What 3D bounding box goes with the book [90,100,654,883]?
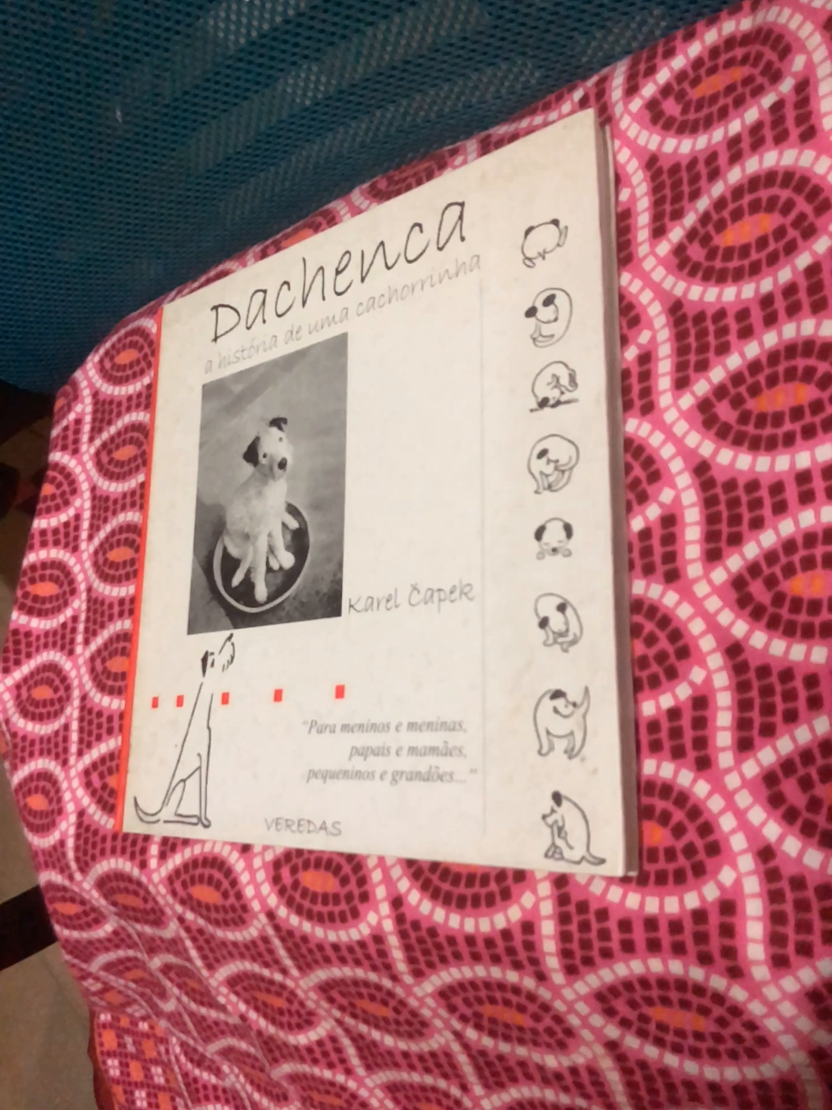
[{"bbox_3d":[-0.027,-0.012,0.312,0.206,0.027,0.216,-9,72,36],"label":"book"}]
